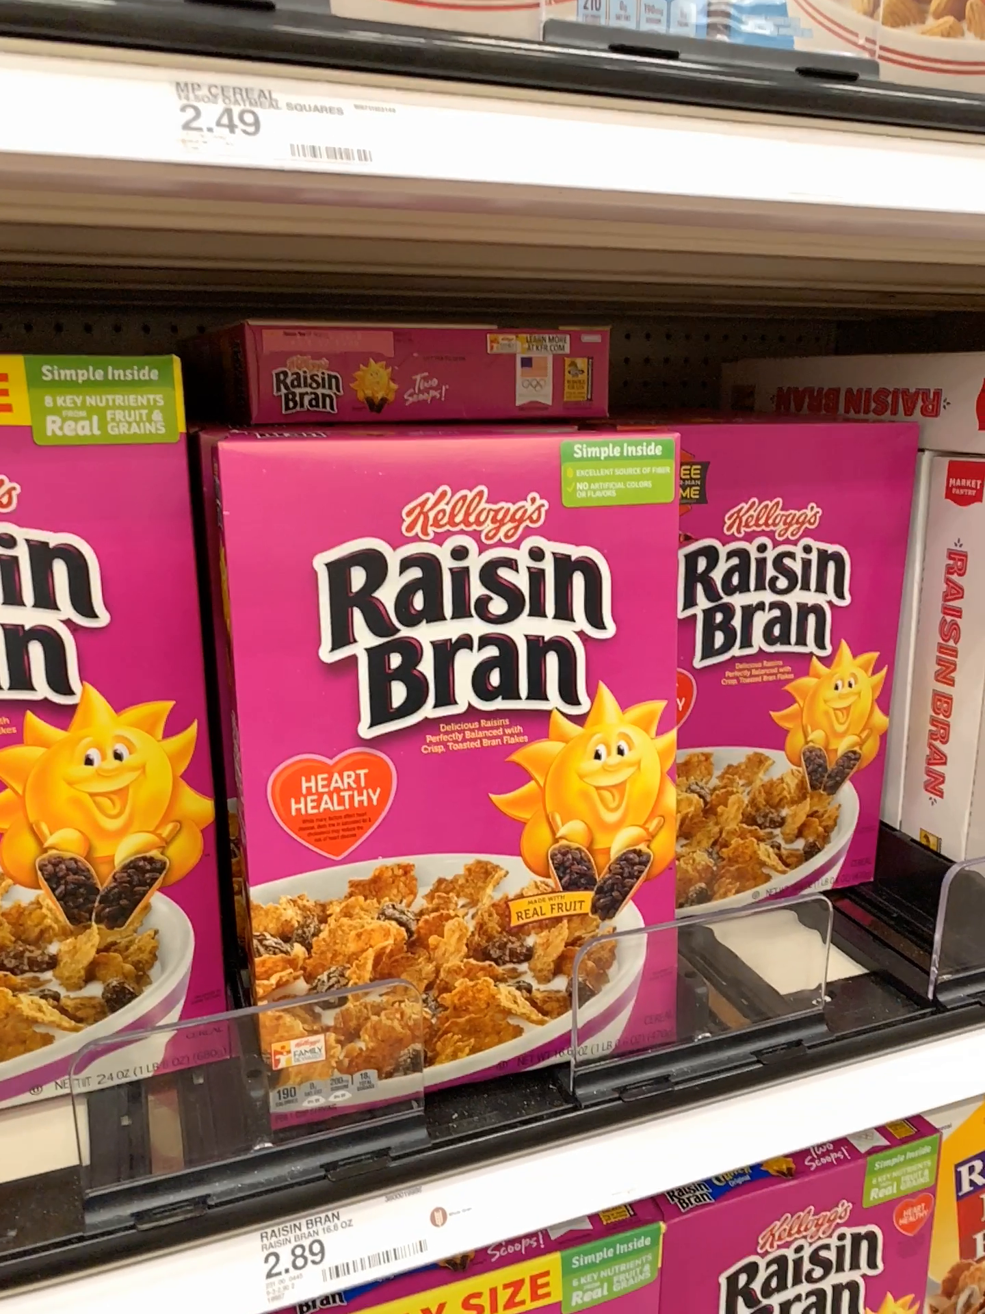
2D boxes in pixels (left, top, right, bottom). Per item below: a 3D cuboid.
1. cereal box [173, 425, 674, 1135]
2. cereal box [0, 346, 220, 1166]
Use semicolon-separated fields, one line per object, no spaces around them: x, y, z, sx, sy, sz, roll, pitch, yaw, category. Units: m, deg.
-0.022;0.044;0.444;0.200;0.279;0.050;-5;11;-19;cereal box
-0.239;0.031;0.416;0.220;0.299;0.060;-6;14;-20;cereal box
